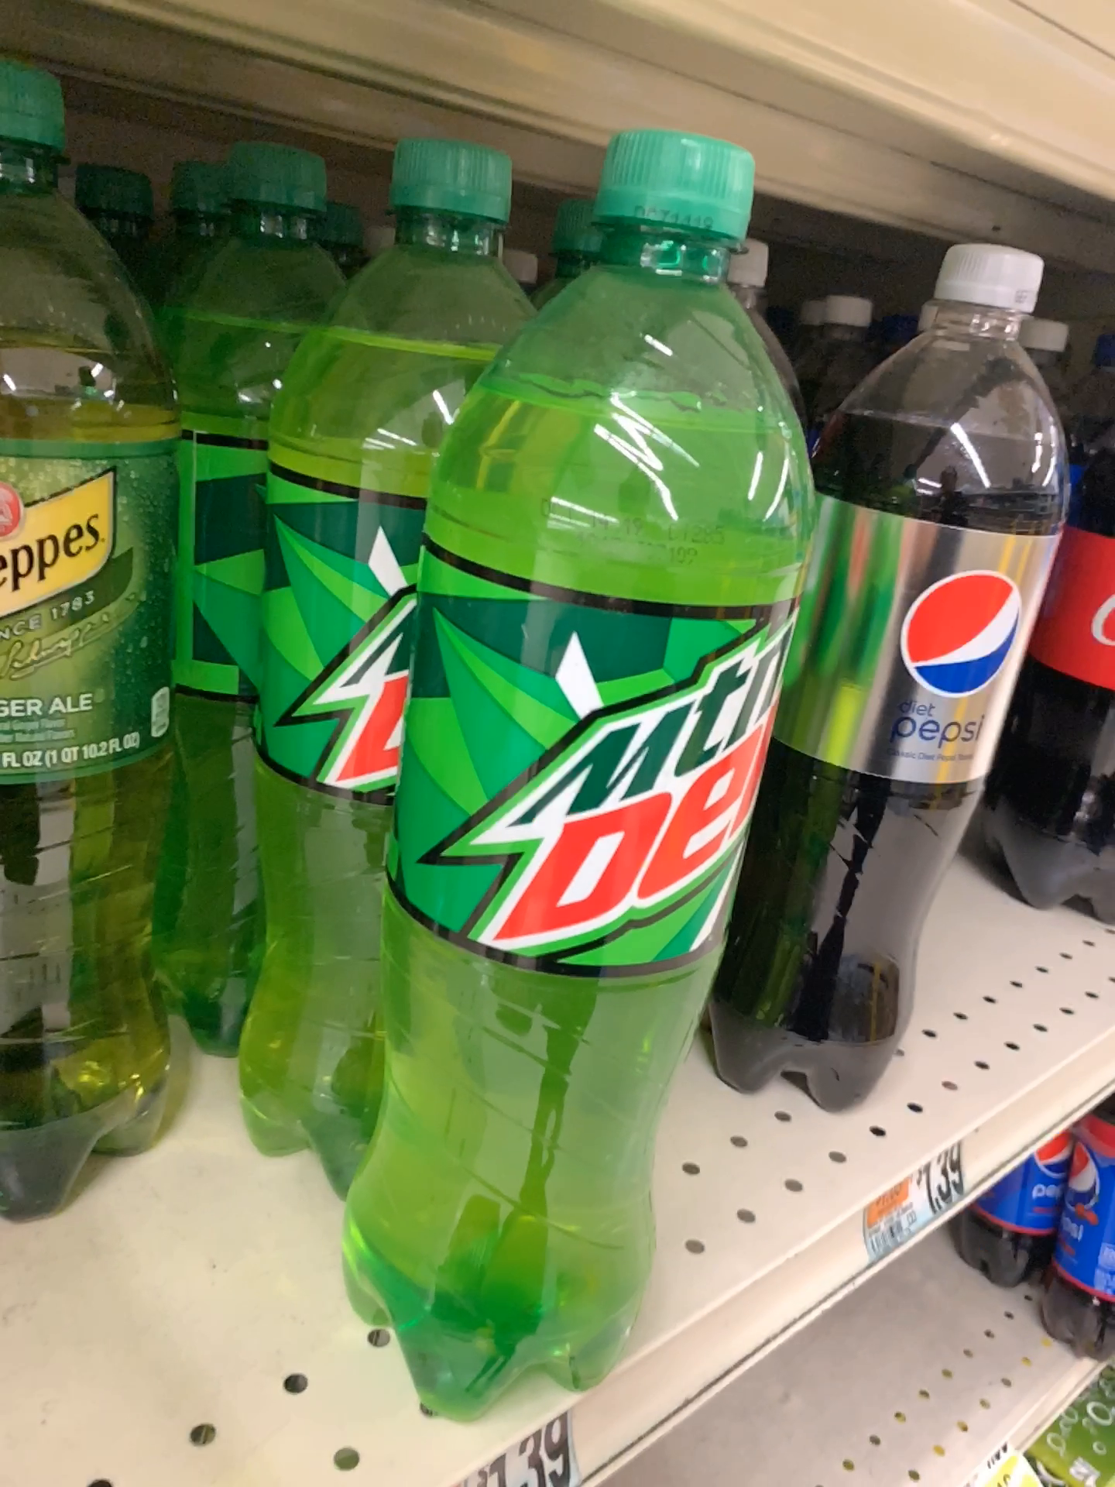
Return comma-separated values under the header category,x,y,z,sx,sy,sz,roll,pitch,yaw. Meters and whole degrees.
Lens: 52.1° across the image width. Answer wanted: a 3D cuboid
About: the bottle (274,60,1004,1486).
category,x,y,z,sx,sy,sz,roll,pitch,yaw
bottle,0.003,0.020,0.279,0.100,0.302,0.090,-8,25,-37
